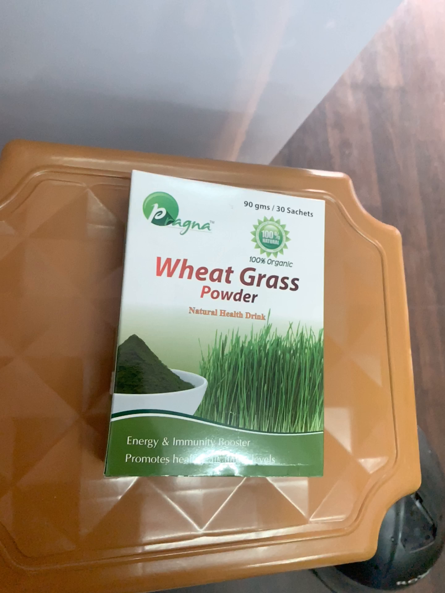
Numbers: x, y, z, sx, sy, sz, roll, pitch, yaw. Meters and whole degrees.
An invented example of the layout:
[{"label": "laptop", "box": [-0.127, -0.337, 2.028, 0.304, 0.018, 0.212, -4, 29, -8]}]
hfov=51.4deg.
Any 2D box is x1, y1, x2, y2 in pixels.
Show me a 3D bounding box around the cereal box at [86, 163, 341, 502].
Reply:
[{"label": "cereal box", "box": [-0.003, 0.023, 0.271, 0.130, 0.050, 0.170, 6, 81, -14]}]
